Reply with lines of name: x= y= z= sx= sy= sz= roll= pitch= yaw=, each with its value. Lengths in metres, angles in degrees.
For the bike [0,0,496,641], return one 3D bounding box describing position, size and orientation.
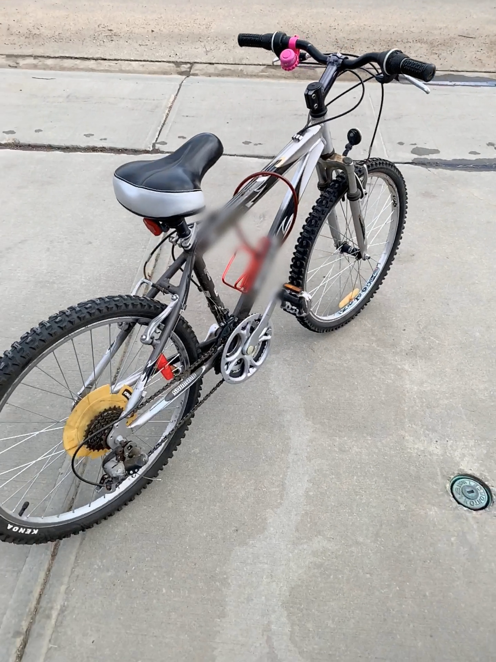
bike: x=-0.037 y=-0.190 z=1.244 sx=0.540 sy=0.825 sz=1.501 roll=33 pitch=55 yaw=29
